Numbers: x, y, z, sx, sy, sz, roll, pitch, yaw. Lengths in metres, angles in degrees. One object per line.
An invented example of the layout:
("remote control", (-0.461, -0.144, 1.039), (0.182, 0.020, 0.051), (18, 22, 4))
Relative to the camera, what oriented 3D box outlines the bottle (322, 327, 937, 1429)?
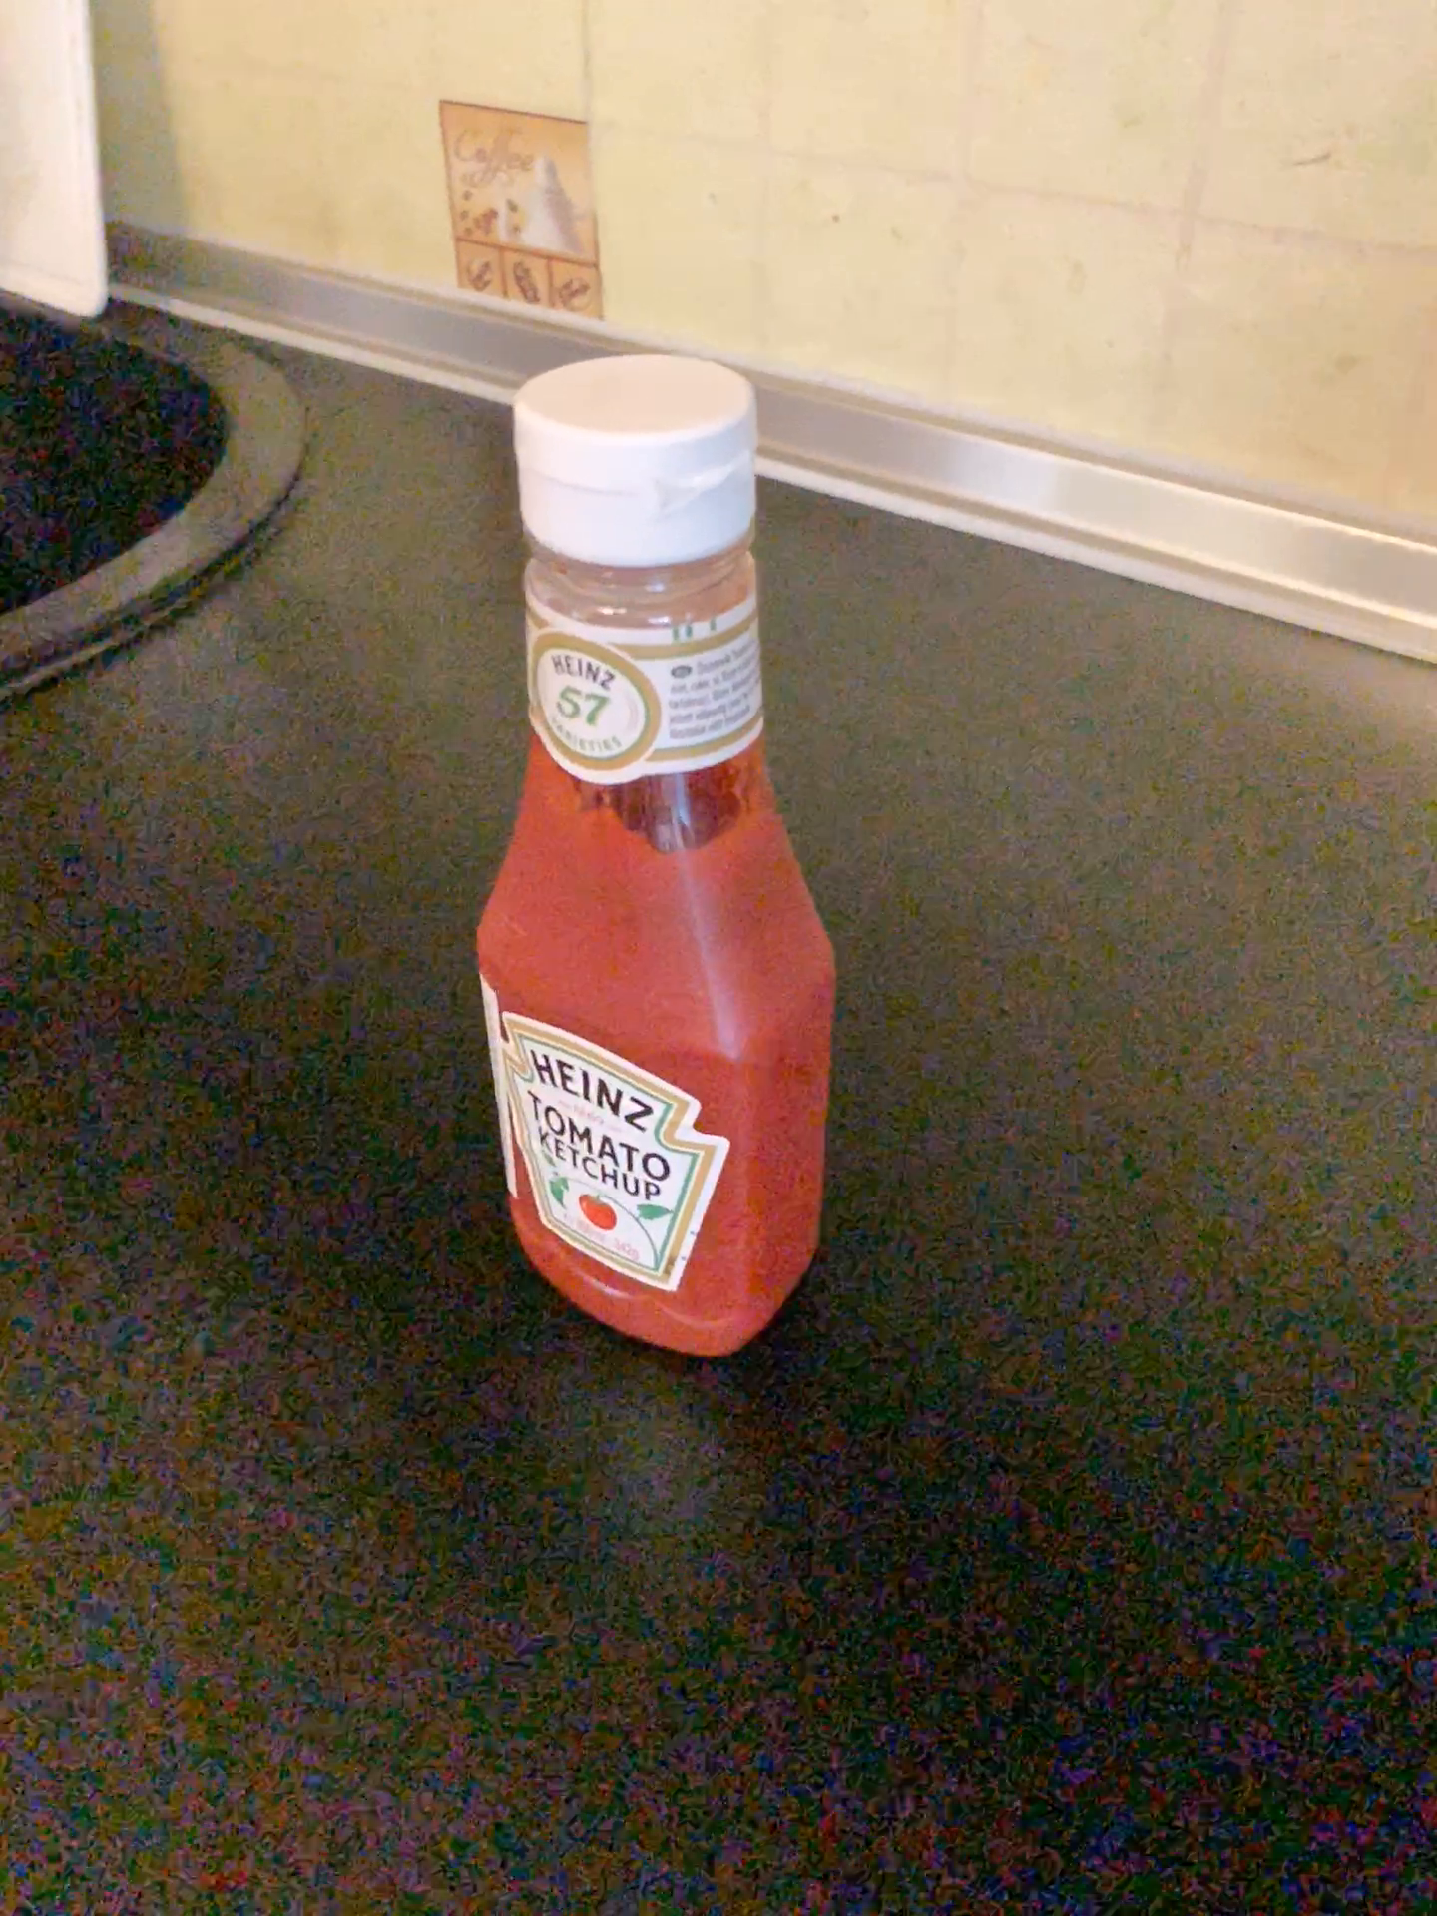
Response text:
("bottle", (-0.012, -0.003, 0.268), (0.070, 0.189, 0.050), (22, 45, 25))
